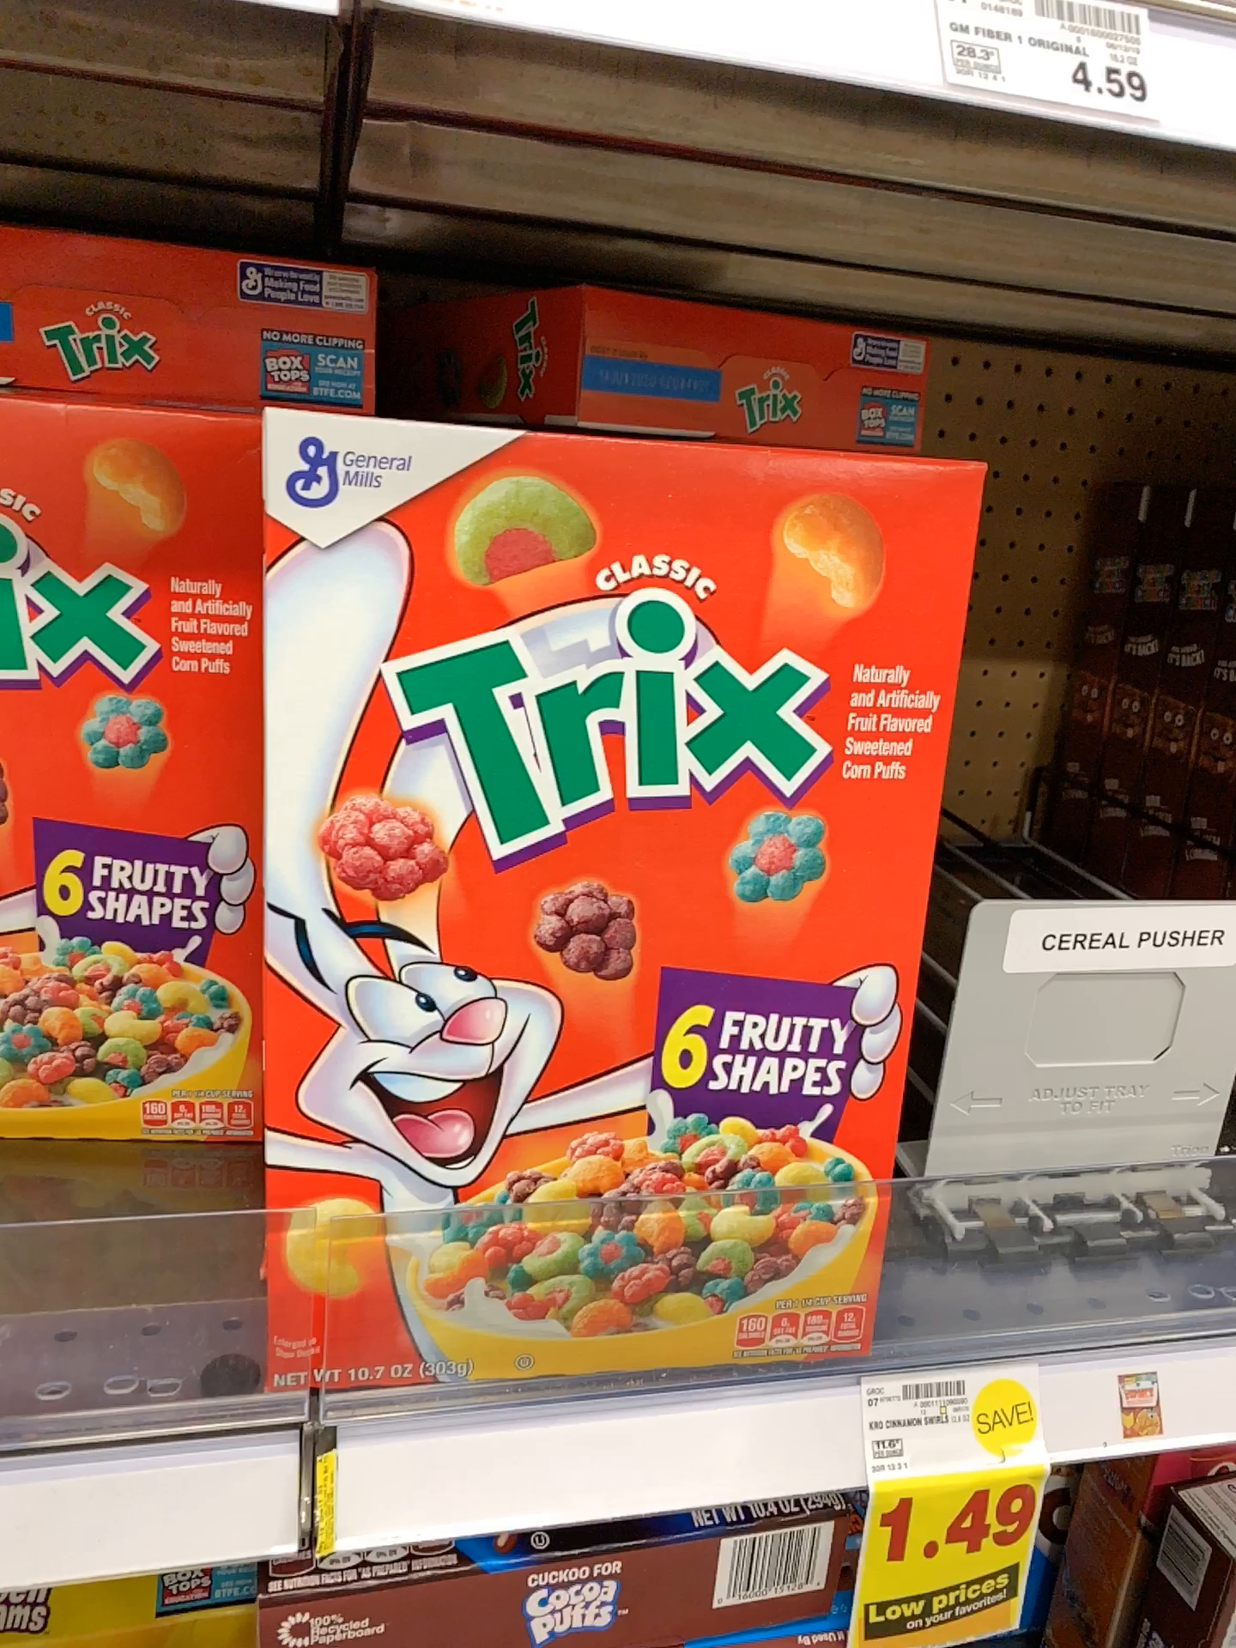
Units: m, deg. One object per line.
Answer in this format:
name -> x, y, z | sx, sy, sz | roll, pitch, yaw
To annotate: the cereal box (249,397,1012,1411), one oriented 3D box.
cereal box -> -0.007, 0.030, 0.394 | 0.200, 0.289, 0.060 | 1, 16, -13
